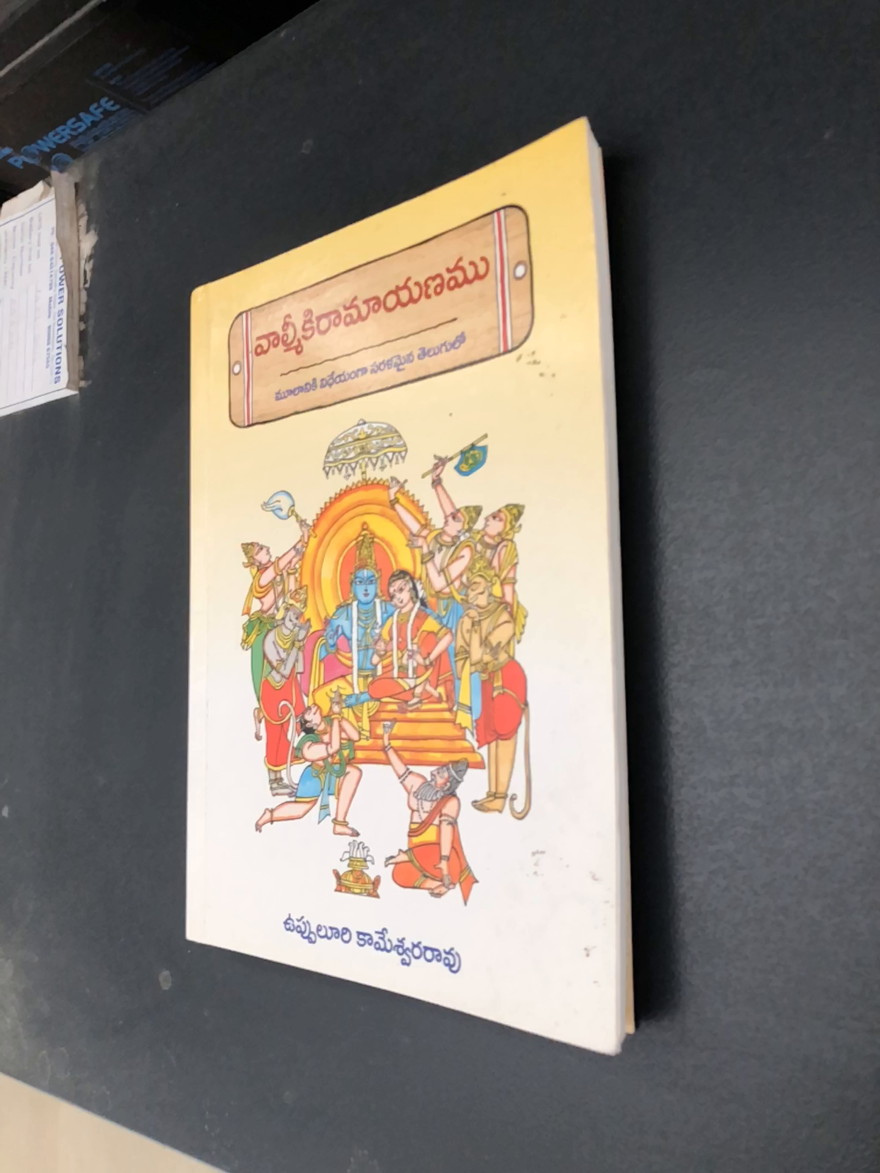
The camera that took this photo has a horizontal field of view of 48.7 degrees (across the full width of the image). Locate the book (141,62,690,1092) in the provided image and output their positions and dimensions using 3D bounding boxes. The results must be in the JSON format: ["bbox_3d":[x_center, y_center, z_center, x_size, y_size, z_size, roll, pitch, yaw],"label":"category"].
[{"bbox_3d":[-0.022,-0.002,0.293,0.191,0.020,0.240,-5,83,39],"label":"book"}]
